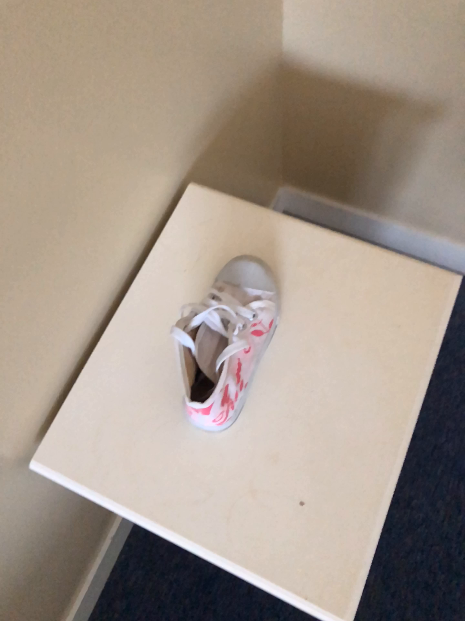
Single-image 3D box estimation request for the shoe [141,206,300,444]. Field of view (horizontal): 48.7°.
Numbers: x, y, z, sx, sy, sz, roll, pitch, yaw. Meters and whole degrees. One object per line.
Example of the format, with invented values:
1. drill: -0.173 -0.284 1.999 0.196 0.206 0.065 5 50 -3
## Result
1. shoe: -0.002 0.015 0.491 0.080 0.100 0.191 16 69 11
